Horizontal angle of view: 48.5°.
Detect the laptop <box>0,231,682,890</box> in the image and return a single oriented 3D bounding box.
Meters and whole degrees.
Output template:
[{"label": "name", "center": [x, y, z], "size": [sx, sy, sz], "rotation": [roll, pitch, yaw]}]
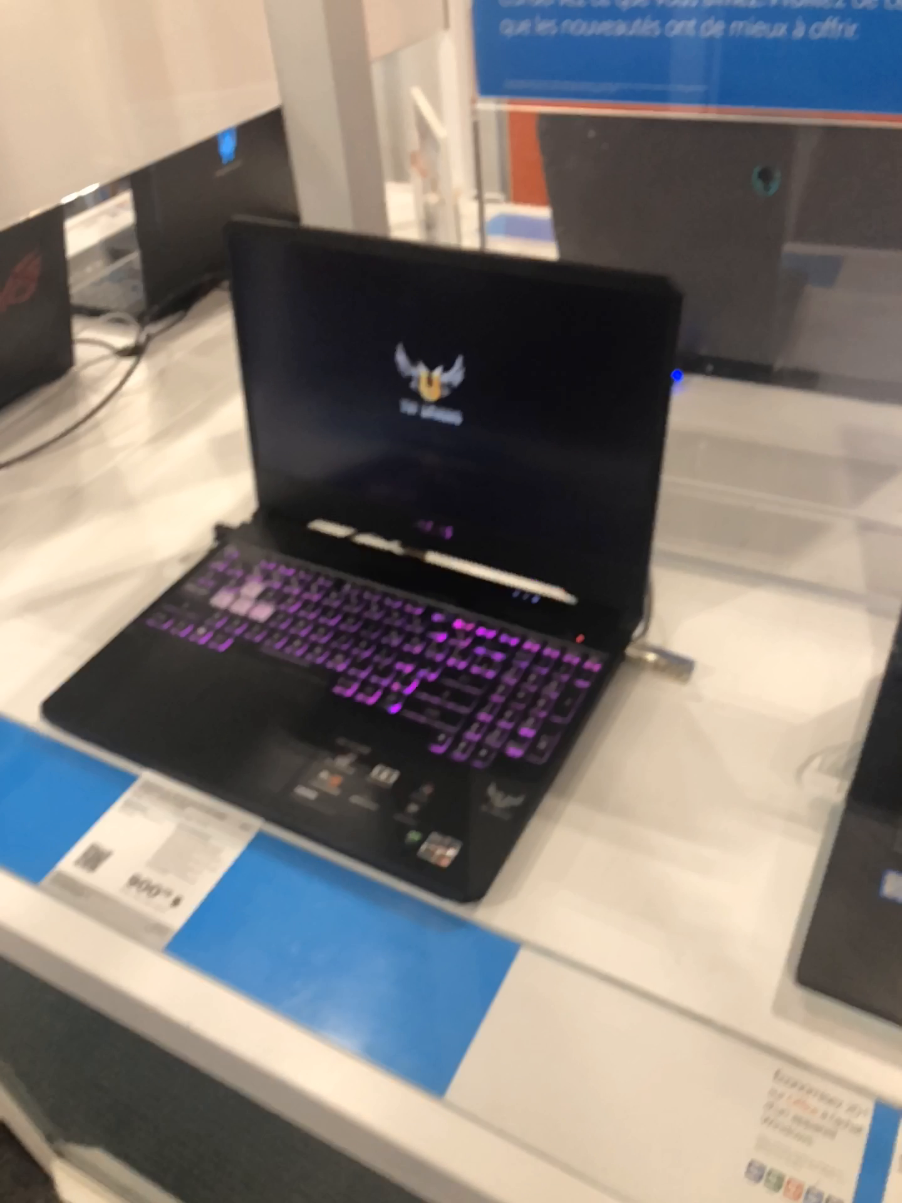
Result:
[{"label": "laptop", "center": [-0.077, -0.058, 0.670], "size": [0.350, 0.235, 0.302], "rotation": [16, 45, 25]}]
